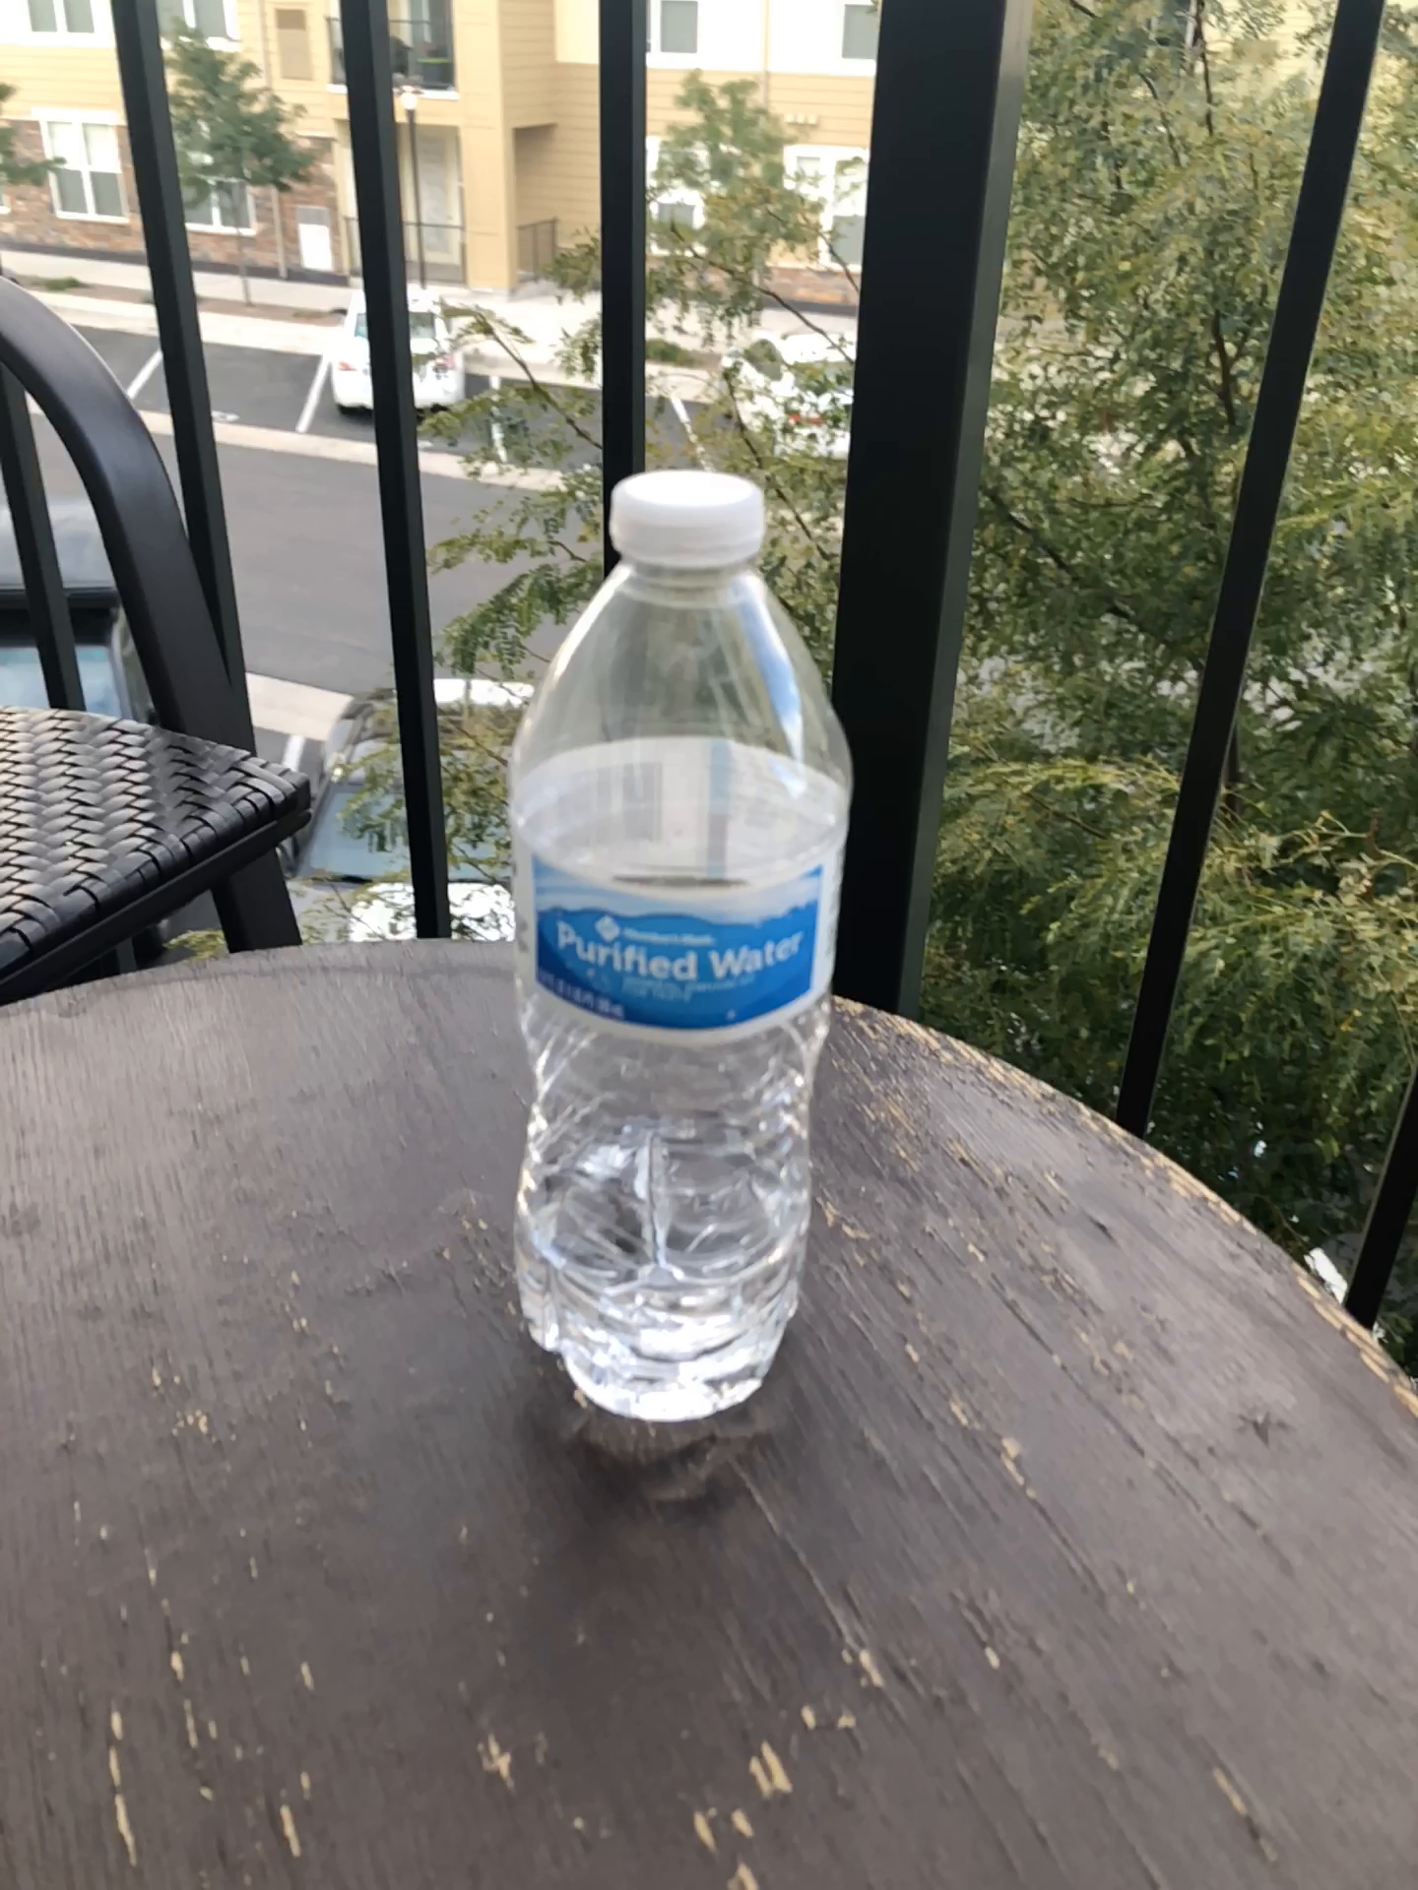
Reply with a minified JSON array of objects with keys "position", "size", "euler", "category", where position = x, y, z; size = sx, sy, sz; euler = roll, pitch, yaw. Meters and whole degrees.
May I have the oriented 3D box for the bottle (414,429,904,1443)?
[{"position":[-0.008,0.002,0.318],"size":[0.074,0.189,0.080],"euler":[1,30,-1],"category":"bottle"}]
